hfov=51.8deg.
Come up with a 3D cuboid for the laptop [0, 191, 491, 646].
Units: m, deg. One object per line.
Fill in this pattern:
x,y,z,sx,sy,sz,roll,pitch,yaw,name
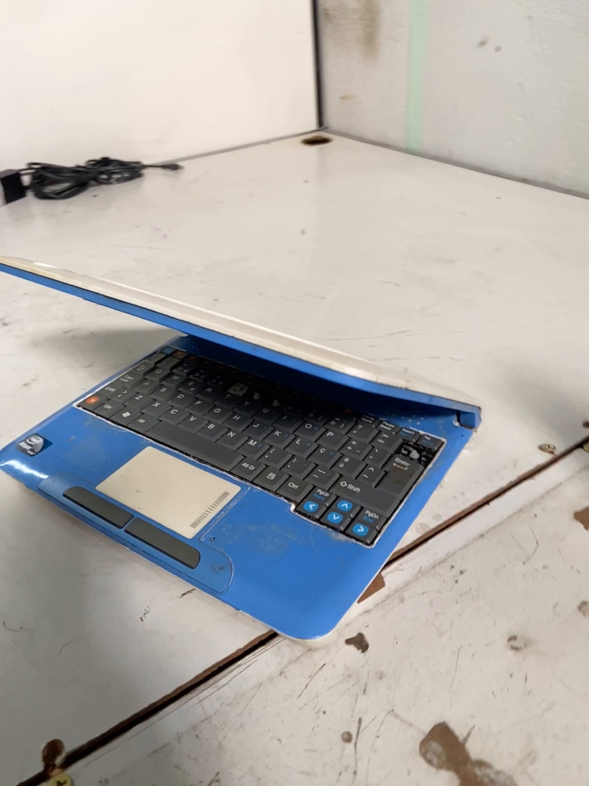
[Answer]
-0.045,-0.020,0.352,0.247,0.116,0.182,19,41,31,laptop
